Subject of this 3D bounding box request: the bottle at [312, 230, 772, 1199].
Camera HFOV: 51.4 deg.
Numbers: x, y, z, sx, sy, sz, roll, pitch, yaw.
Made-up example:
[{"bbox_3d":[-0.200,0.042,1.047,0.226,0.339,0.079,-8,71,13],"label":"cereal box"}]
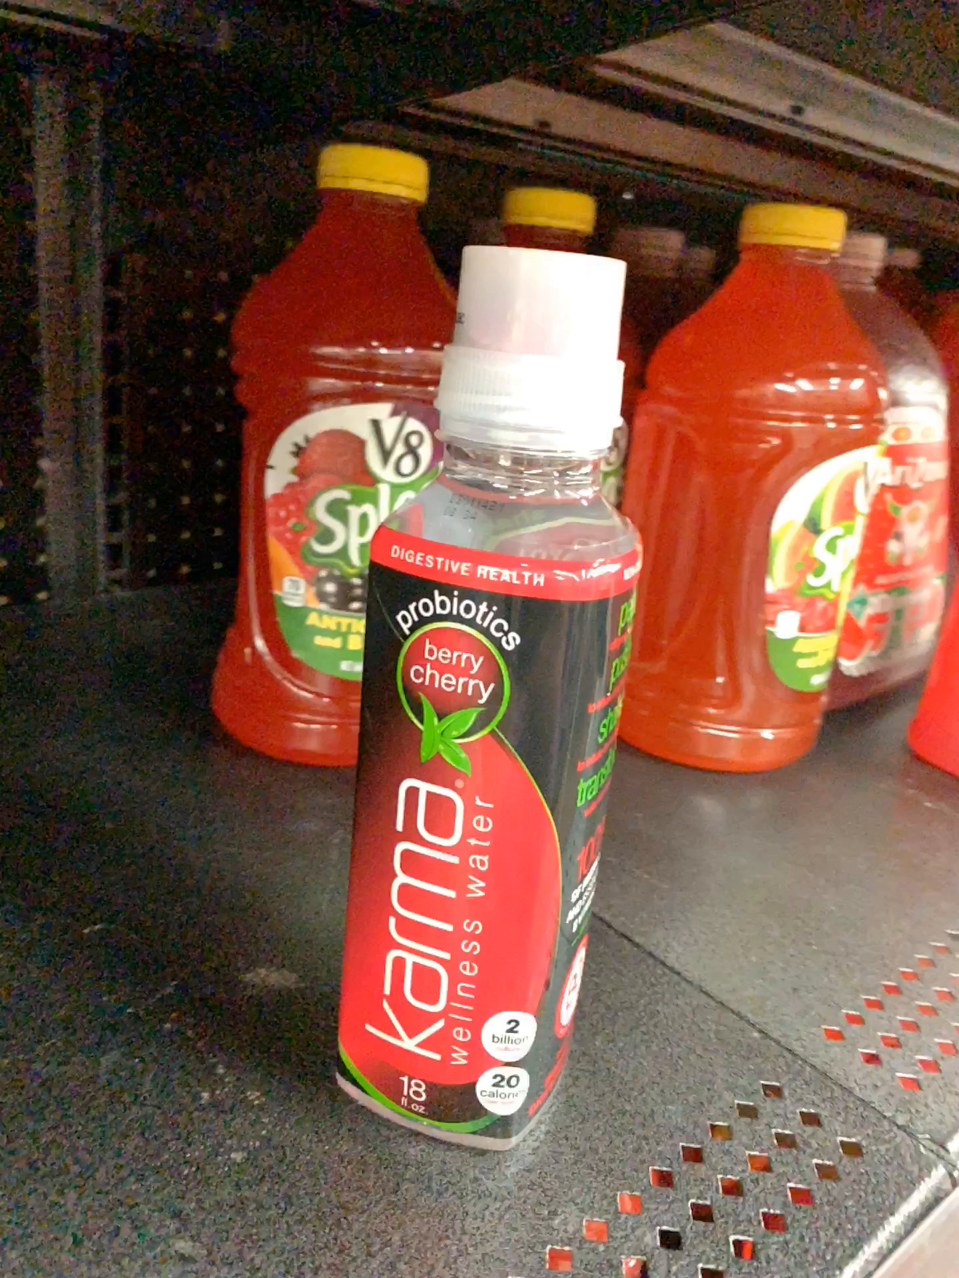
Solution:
[{"bbox_3d":[0.012,0.018,0.244,0.068,0.209,0.070,6,20,-2],"label":"bottle"}]
